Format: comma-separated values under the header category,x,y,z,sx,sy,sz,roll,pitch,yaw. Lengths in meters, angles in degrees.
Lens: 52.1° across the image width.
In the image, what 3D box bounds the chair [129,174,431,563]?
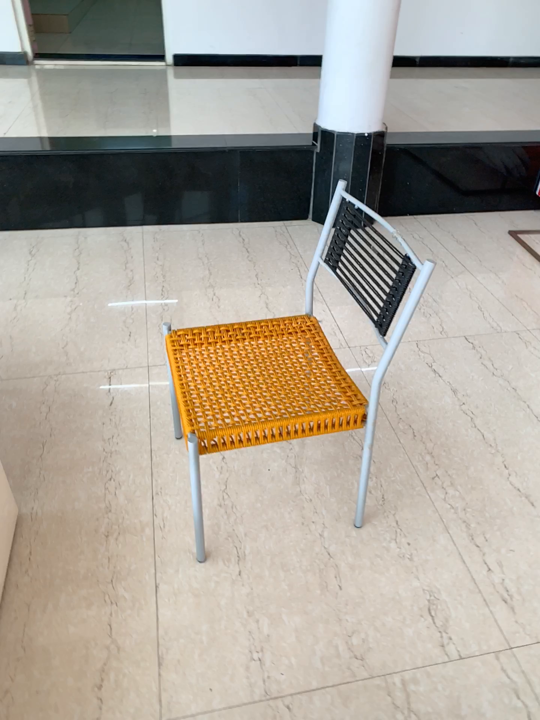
category,x,y,z,sx,sy,sz,roll,pitch,yaw
chair,-0.032,0.006,1.386,0.520,0.744,0.534,-7,37,-12
